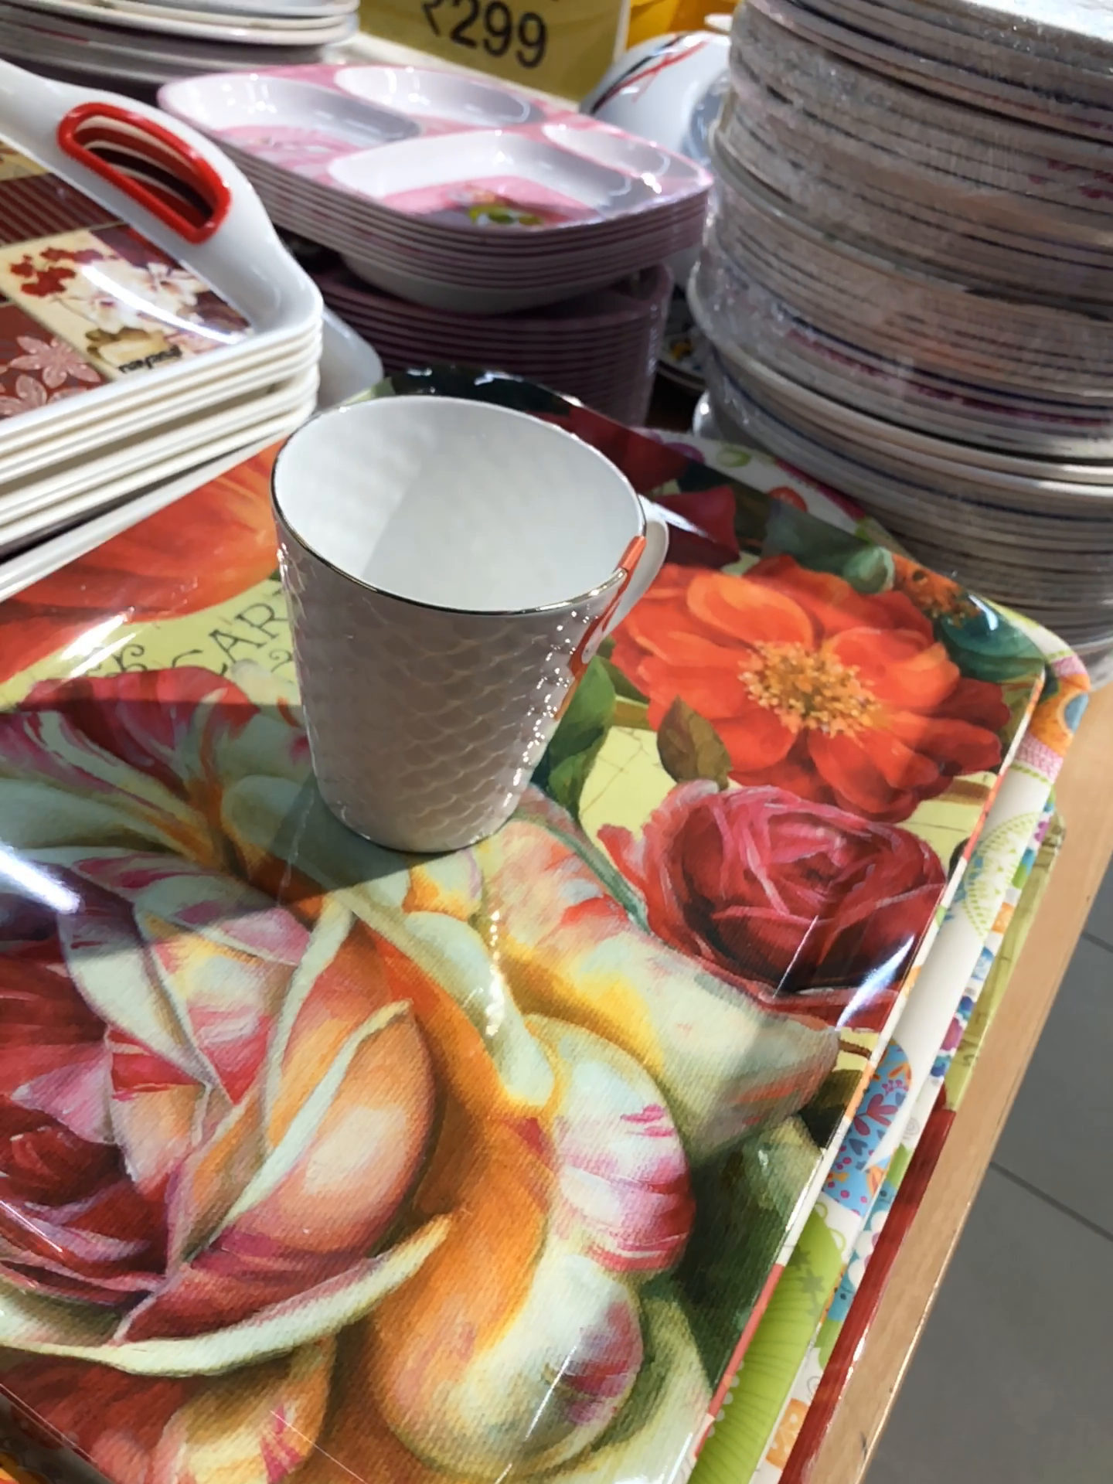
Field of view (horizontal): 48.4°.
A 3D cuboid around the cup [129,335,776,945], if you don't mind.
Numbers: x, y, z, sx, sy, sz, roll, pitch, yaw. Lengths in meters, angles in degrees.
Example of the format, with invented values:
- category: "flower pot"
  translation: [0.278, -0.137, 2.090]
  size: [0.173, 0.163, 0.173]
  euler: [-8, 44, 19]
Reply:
- category: "cup"
  translation: [-0.029, -0.035, 0.328]
  size: [0.121, 0.089, 0.100]
  euler: [-26, 53, -36]
